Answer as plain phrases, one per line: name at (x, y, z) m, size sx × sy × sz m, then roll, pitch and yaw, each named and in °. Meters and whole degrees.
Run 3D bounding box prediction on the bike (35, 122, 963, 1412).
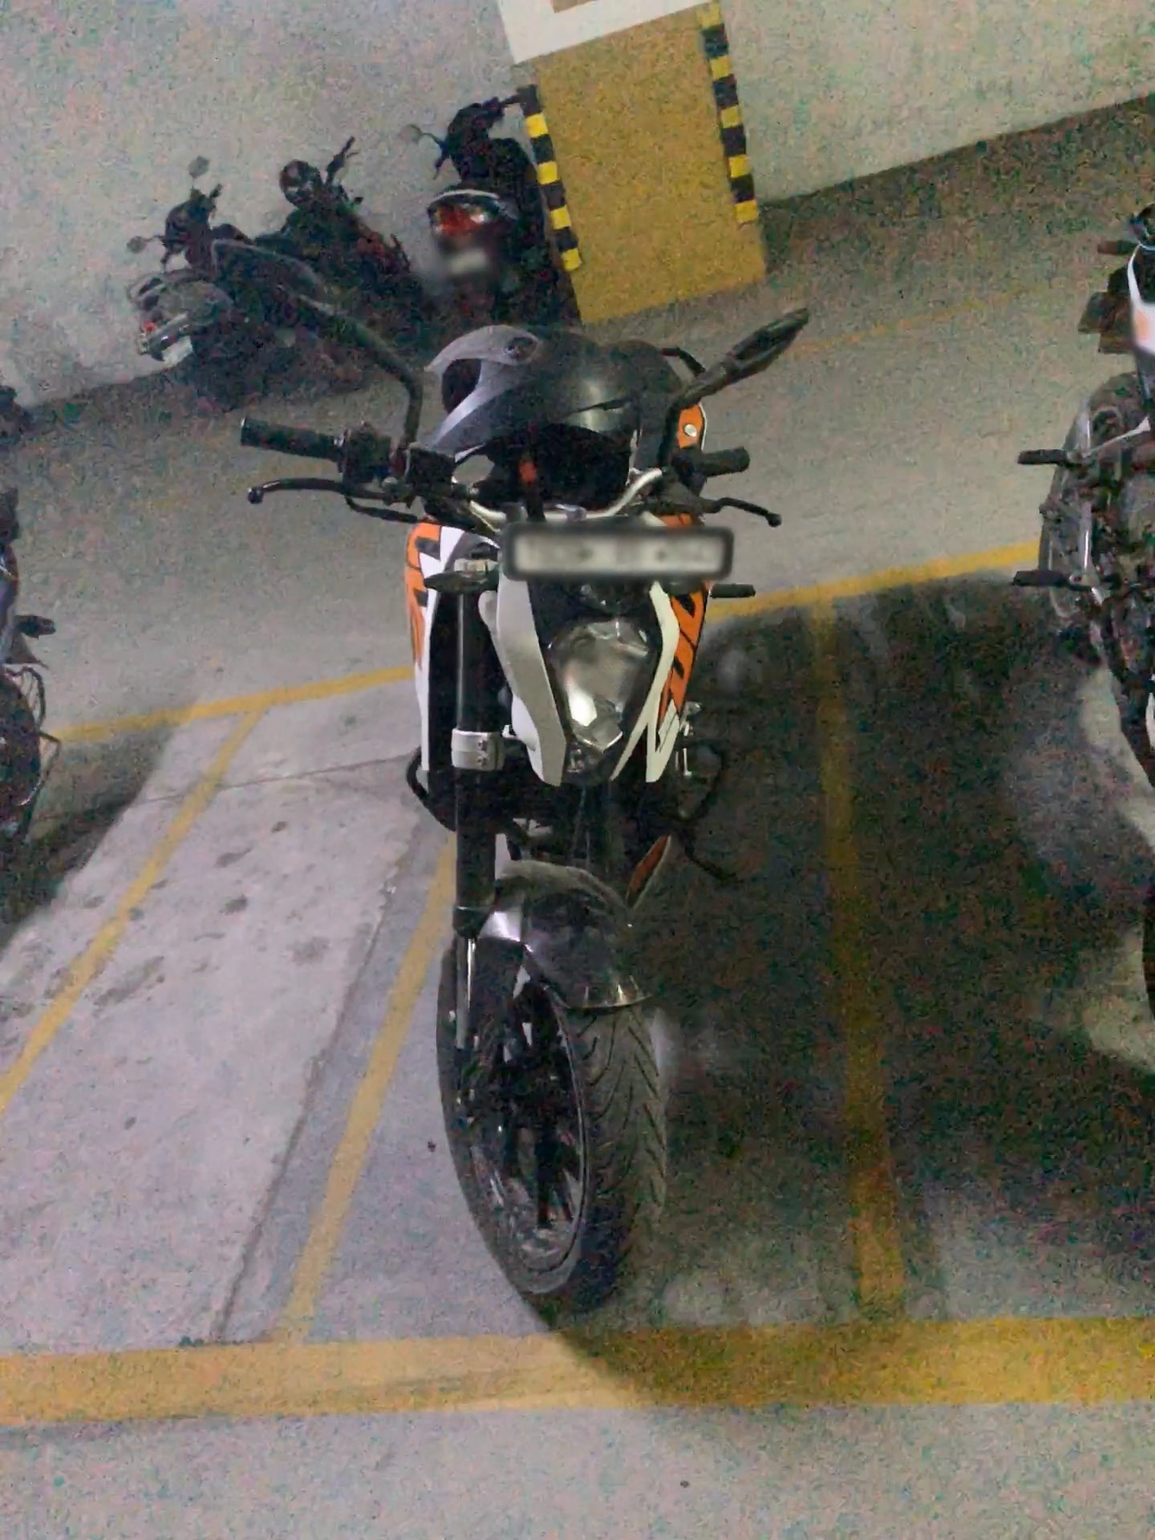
bike at (0.075, -0.187, 2.145) m, size 0.804 × 1.181 × 1.920 m, roll -10°, pitch 37°, yaw 14°
